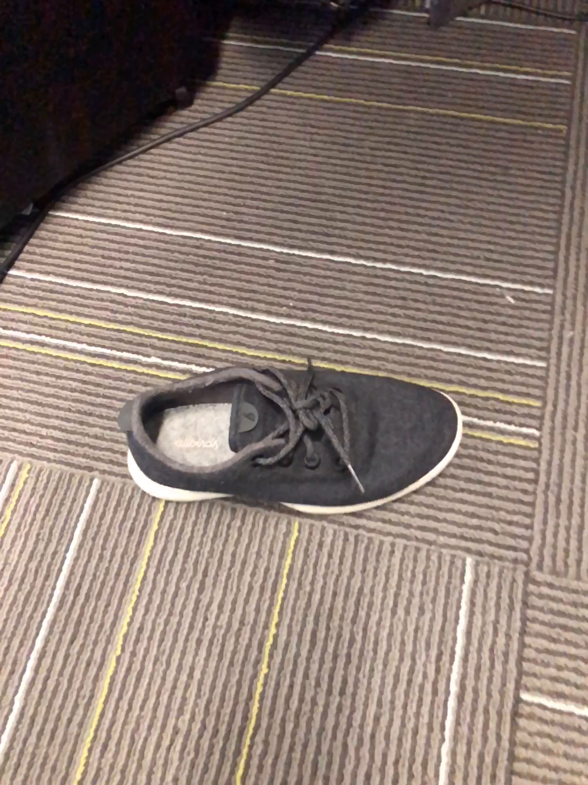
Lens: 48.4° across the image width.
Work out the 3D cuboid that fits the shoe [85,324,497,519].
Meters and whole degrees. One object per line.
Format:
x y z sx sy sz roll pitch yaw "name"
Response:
-0.002 0.024 0.483 0.270 0.070 0.120 -2 67 3 "shoe"
